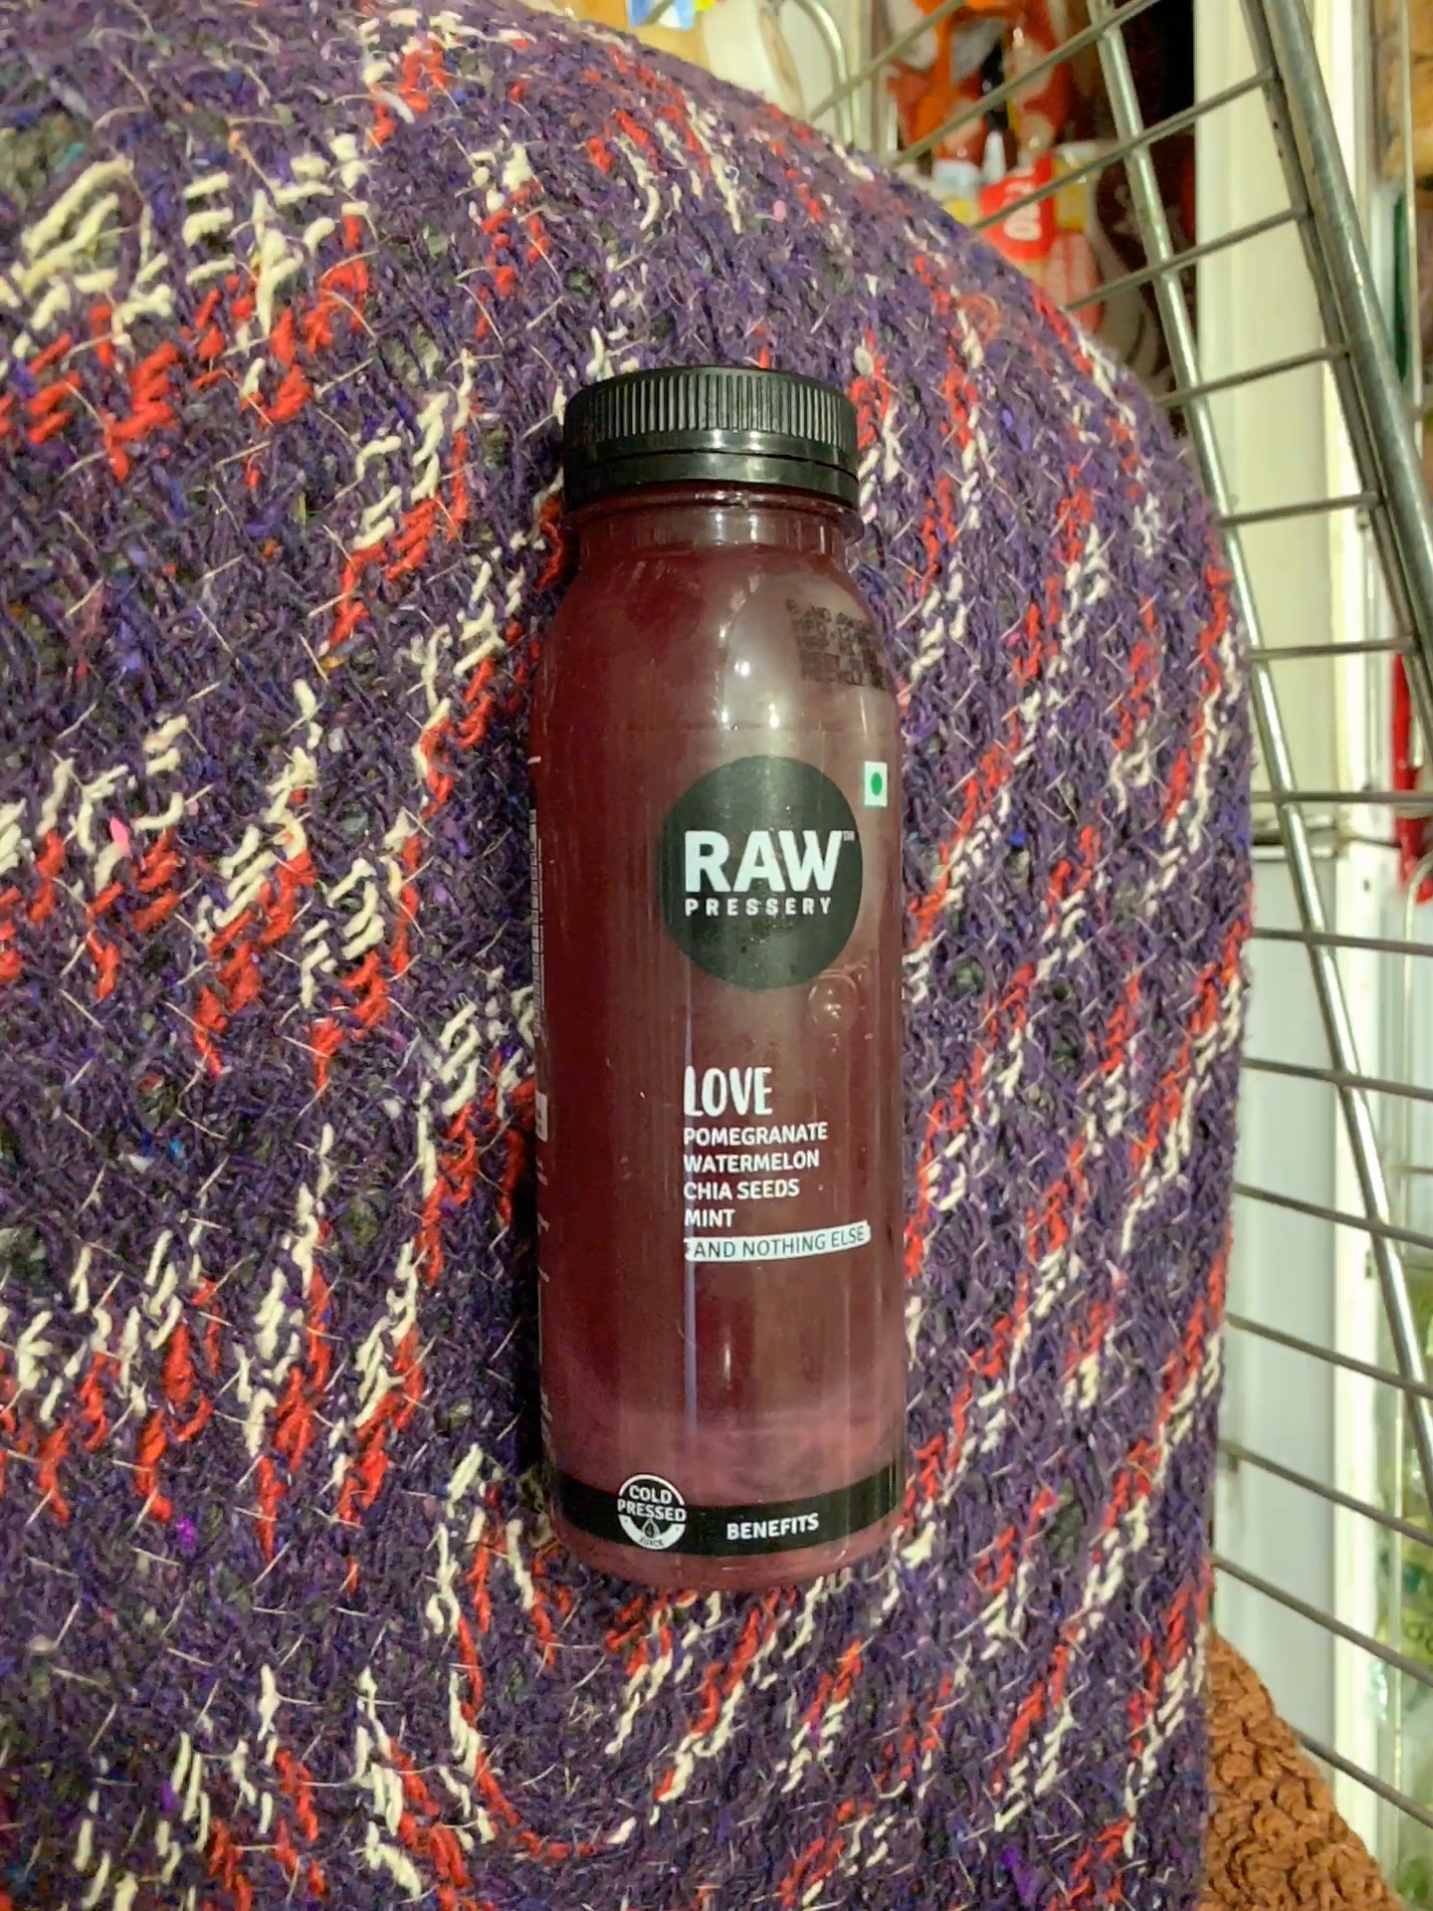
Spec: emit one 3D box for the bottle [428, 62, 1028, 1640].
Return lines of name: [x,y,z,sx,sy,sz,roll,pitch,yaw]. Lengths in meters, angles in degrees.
bottle: [-0.002,-0.011,0.198,0.060,0.060,0.170,-3,93,-16]
